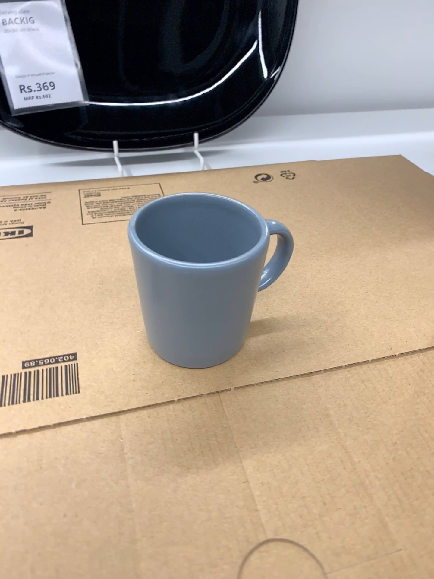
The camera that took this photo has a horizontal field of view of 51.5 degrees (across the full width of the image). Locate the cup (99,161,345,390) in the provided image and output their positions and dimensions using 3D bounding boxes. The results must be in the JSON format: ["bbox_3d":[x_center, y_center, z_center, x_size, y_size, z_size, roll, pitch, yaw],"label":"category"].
[{"bbox_3d":[0.000,-0.011,0.200,0.080,0.060,0.060,-18,42,-25],"label":"cup"}]
